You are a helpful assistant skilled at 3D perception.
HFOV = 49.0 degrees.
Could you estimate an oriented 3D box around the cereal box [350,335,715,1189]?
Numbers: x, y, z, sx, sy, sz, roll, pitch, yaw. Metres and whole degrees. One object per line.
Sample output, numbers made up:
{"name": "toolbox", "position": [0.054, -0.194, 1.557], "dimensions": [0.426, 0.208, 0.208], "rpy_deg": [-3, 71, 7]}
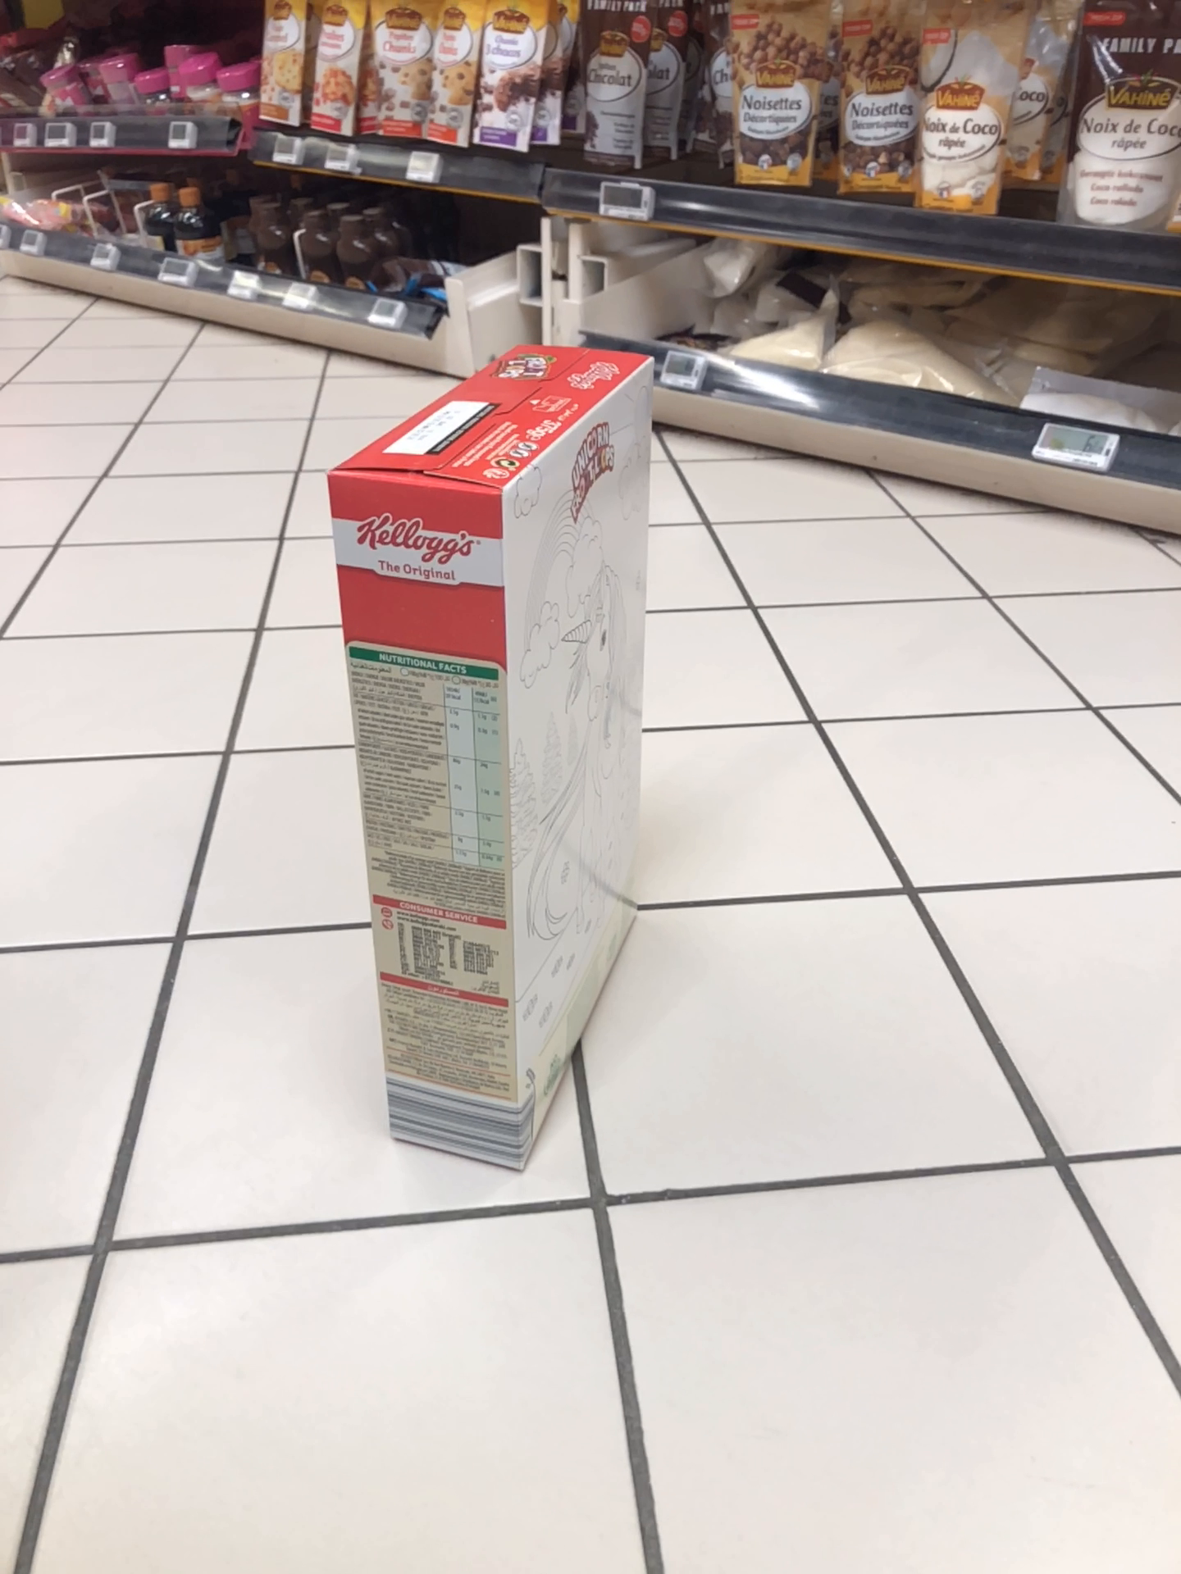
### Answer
{"name": "cereal box", "position": [-0.012, -0.016, 0.555], "dimensions": [0.070, 0.298, 0.201], "rpy_deg": [9, 31, 15]}
